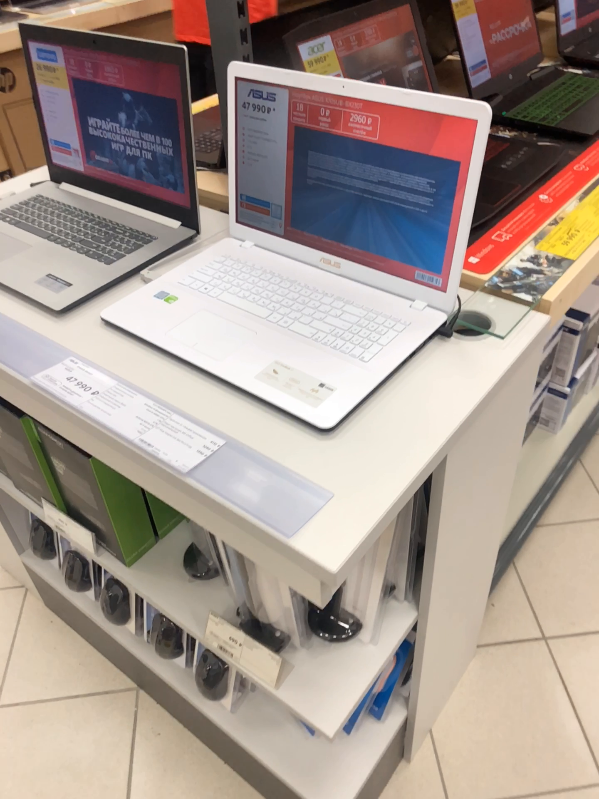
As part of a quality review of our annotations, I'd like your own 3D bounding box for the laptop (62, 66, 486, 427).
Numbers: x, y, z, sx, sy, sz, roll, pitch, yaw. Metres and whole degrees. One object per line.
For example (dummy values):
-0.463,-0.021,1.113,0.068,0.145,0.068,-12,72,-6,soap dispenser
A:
-0.028,-0.219,0.810,0.387,0.235,0.301,24,49,31,laptop
